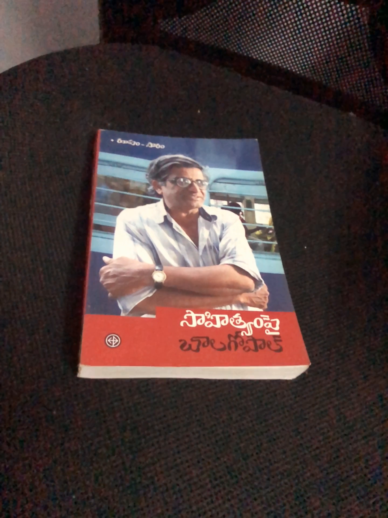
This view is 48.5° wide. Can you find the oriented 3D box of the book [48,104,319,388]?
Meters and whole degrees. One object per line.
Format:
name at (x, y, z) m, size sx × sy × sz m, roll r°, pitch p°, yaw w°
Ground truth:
book at (-0.012, -0.022, 0.314) m, size 0.152 × 0.030 × 0.225 m, roll 3°, pitch 53°, yaw -12°
